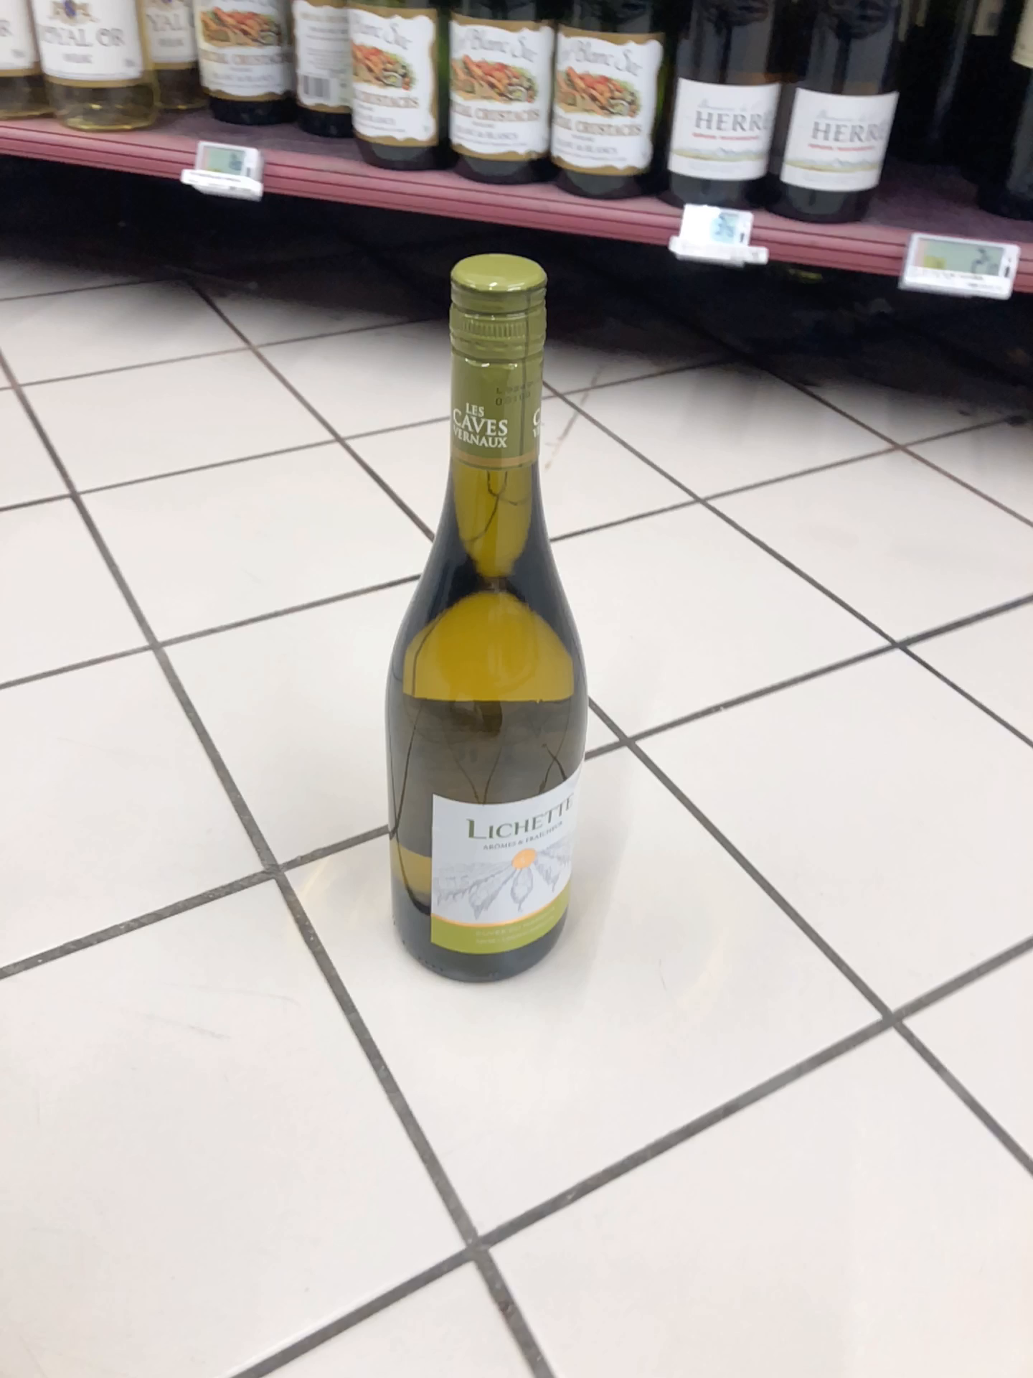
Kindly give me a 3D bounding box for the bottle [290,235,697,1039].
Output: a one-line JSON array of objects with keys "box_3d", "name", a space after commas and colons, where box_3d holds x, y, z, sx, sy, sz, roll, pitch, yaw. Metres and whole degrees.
[{"box_3d": [-0.015, -0.006, 0.419, 0.090, 0.278, 0.090, 2, 38, -2], "name": "bottle"}]
